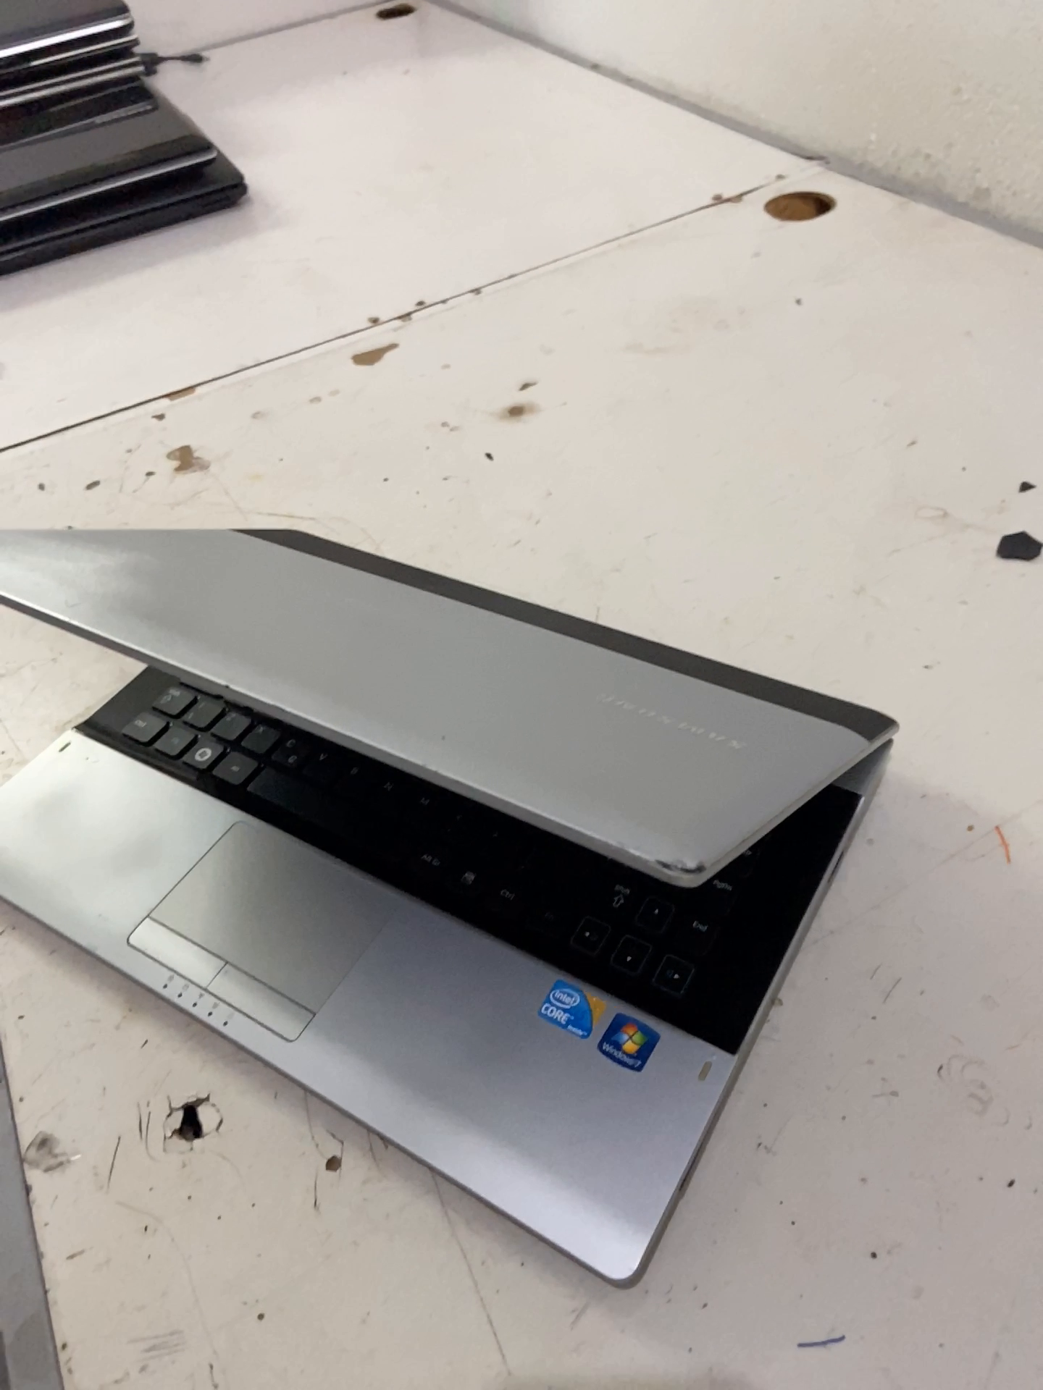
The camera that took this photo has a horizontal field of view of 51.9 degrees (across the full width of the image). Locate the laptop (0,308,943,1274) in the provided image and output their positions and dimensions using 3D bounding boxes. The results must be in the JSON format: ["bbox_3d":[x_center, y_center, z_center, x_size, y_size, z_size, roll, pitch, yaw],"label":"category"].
[{"bbox_3d":[-0.060,-0.005,0.402,0.337,0.133,0.233,20,53,26],"label":"laptop"}]
